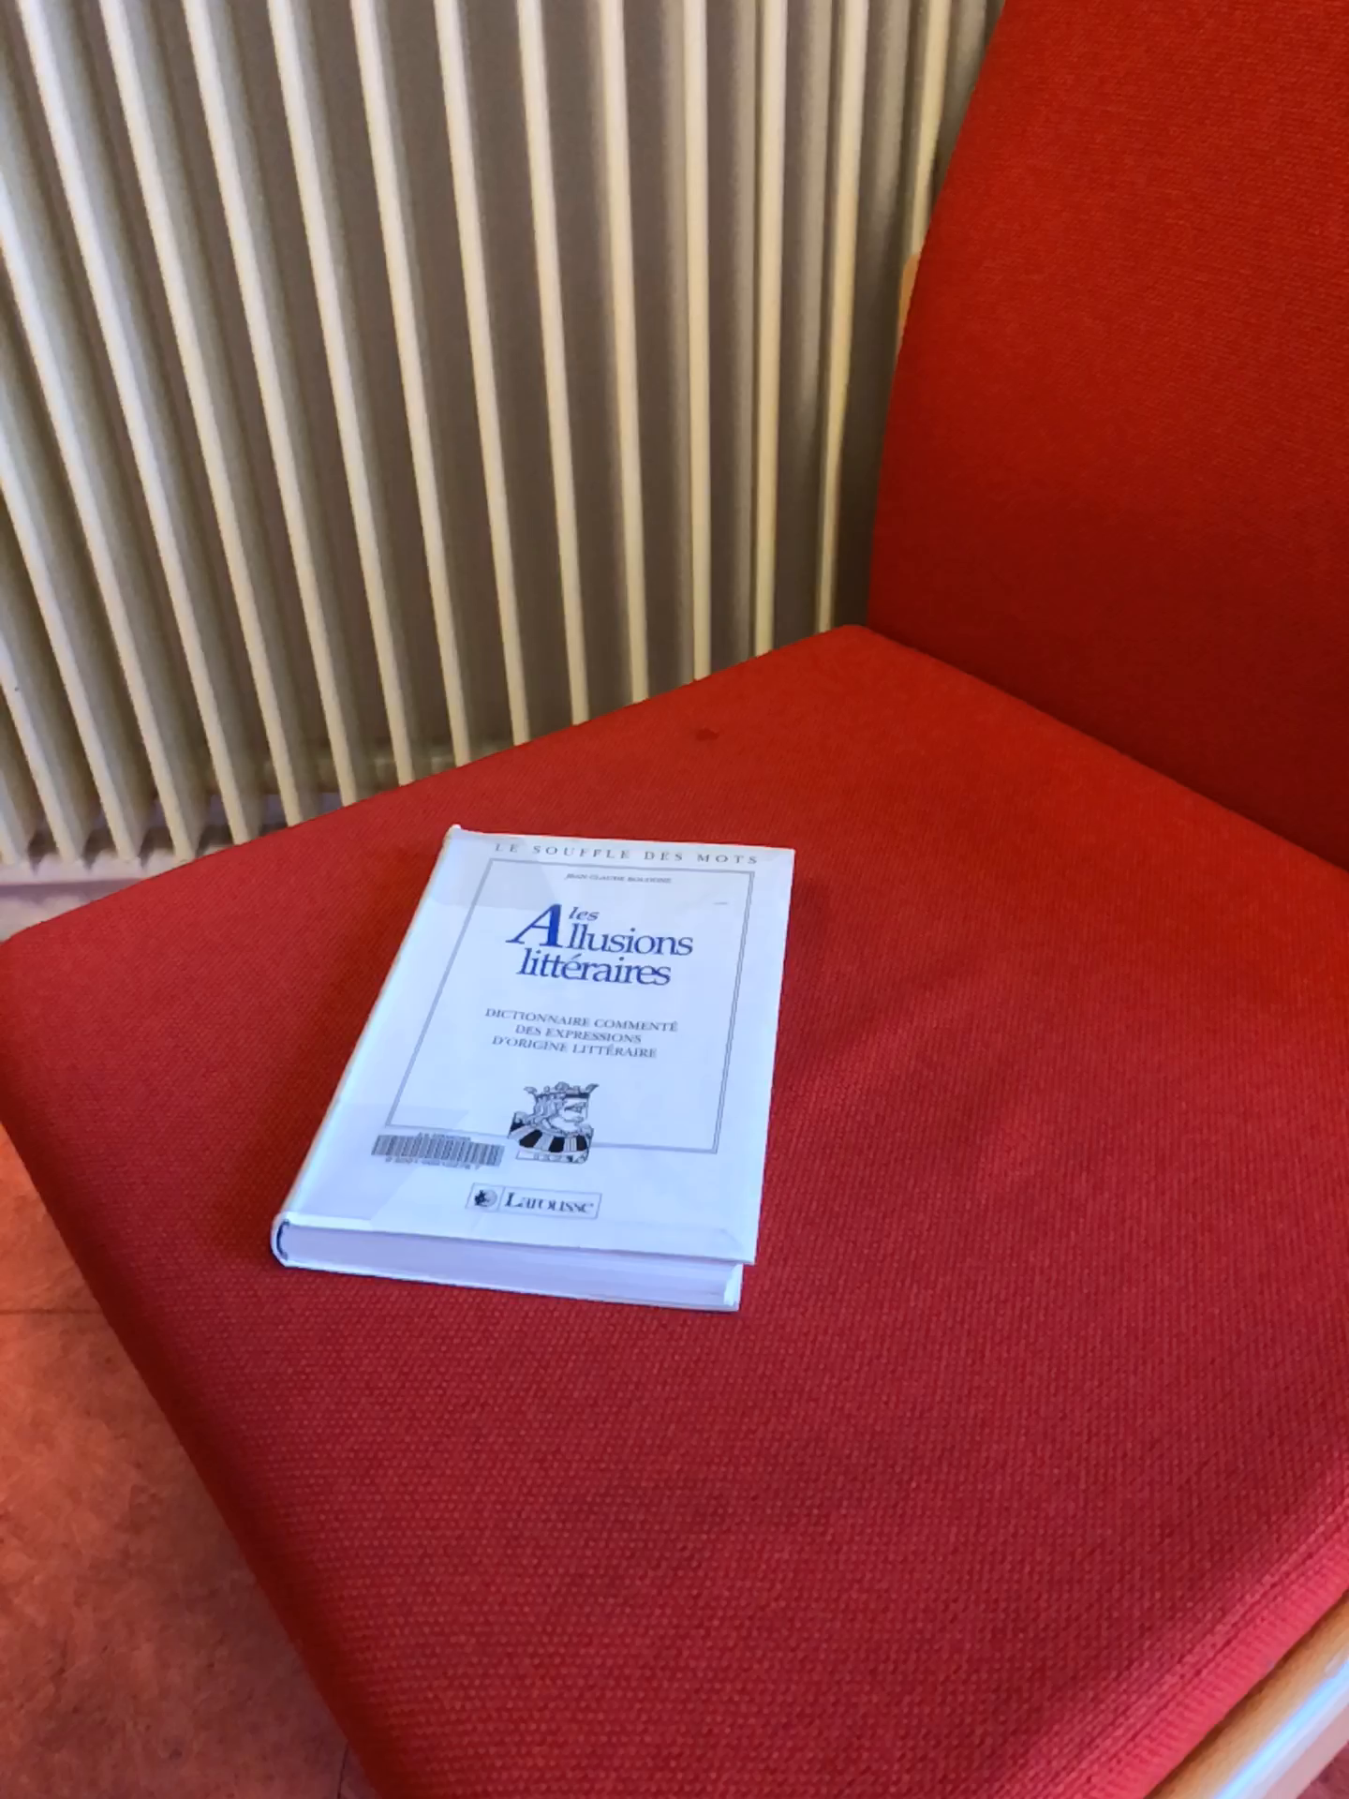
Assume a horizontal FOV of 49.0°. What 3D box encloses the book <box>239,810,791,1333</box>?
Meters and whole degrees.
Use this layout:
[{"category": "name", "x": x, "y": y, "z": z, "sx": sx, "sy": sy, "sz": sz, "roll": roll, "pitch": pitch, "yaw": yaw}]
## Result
[{"category": "book", "x": -0.041, "y": 0.046, "z": 0.524, "sx": 0.150, "sy": 0.030, "sz": 0.218, "roll": 3, "pitch": 38, "yaw": 6}]
